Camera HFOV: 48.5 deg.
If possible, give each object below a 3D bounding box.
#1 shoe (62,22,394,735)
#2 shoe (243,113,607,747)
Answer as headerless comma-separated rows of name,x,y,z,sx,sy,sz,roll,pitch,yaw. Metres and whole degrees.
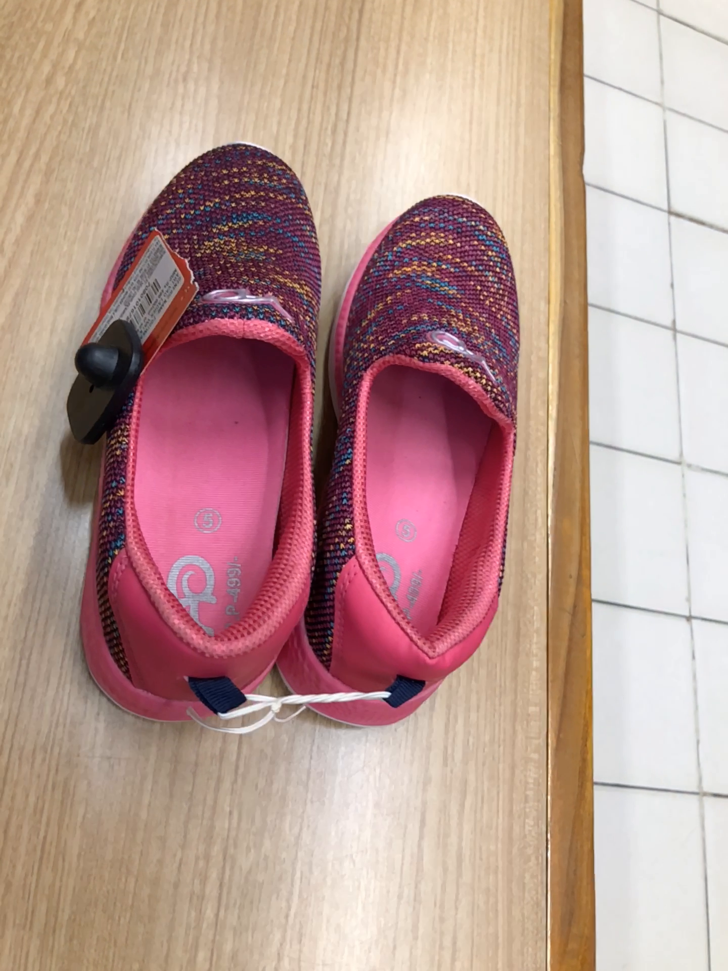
shoe,-0.051,-0.035,0.321,0.090,0.100,0.251,9,70,-17
shoe,0.032,-0.023,0.378,0.100,0.100,0.261,17,67,-14
